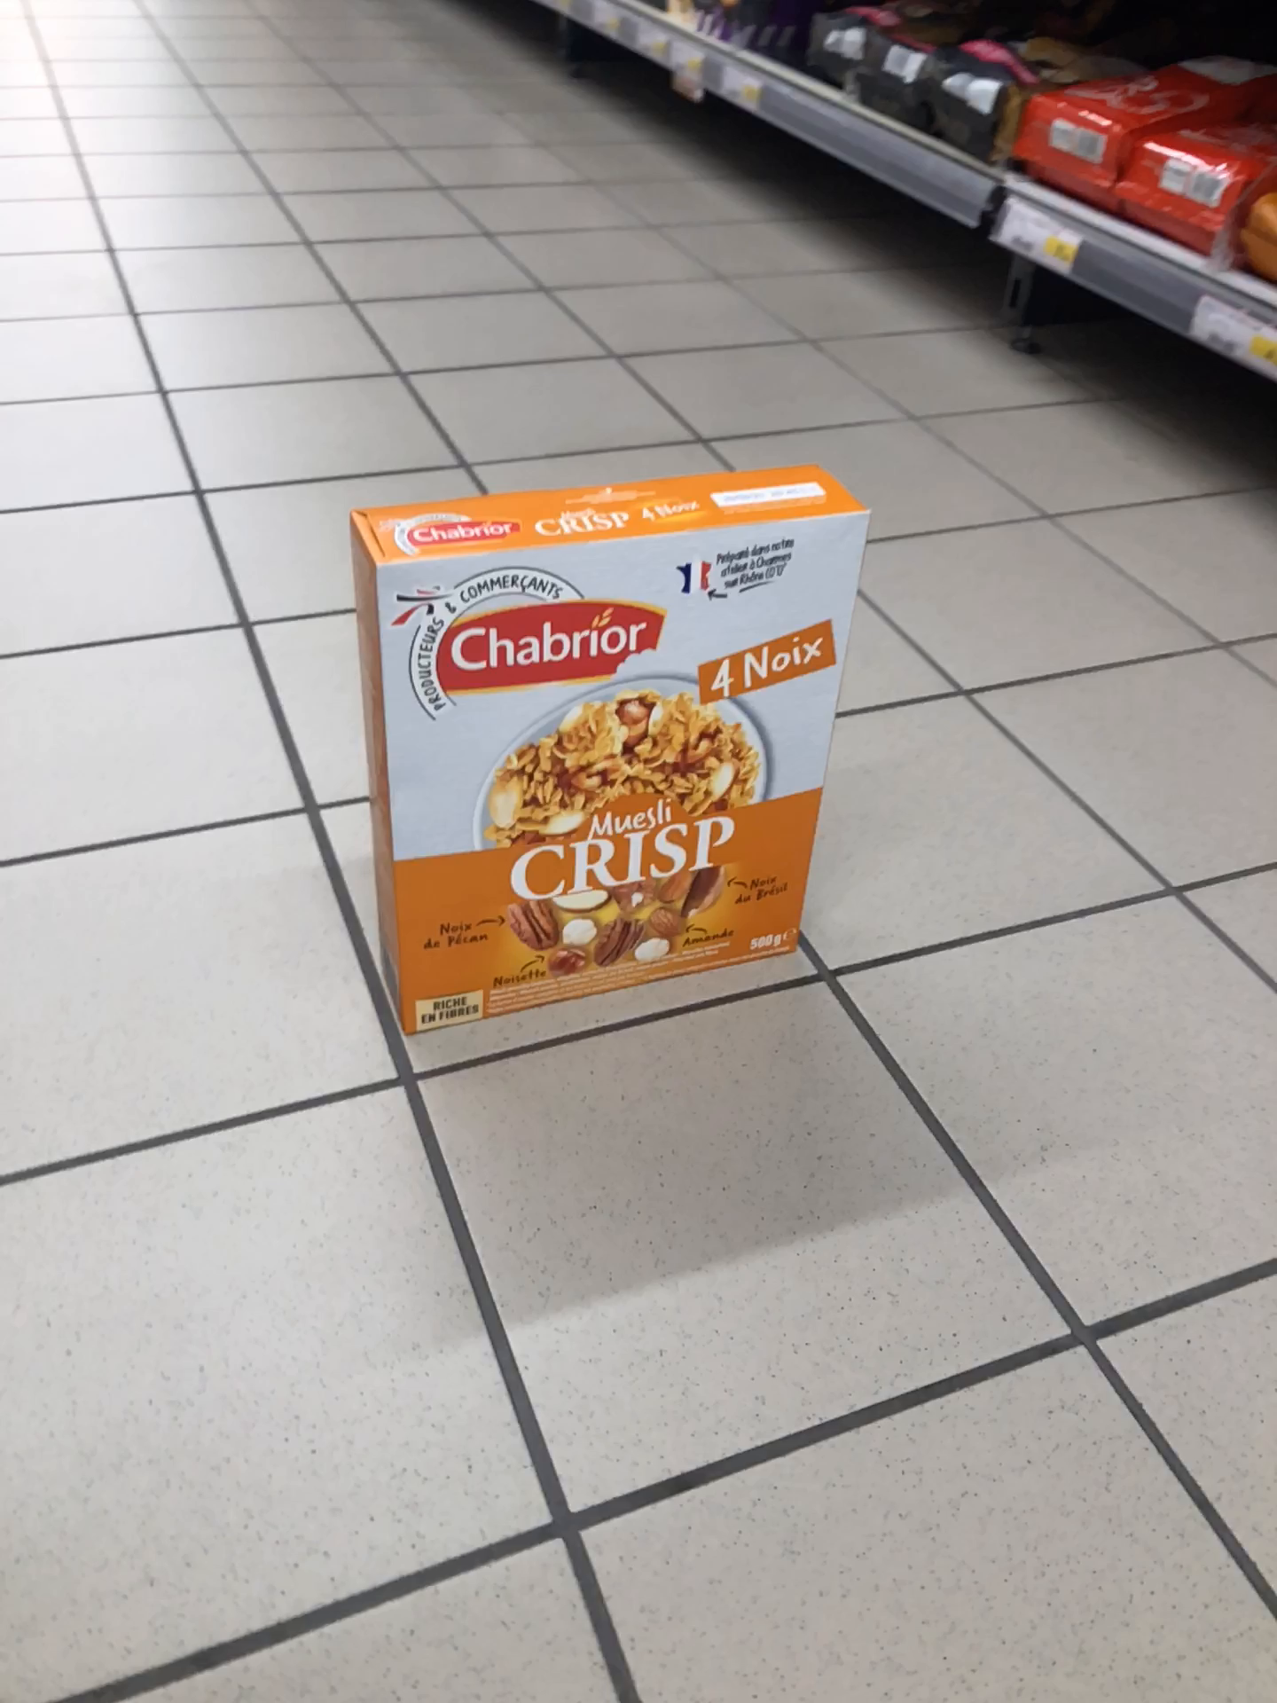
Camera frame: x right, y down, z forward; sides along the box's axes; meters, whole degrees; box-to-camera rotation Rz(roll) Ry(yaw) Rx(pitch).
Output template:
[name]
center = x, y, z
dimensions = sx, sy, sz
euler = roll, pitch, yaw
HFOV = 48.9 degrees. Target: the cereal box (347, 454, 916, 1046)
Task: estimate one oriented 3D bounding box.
[cereal box]
center = -0.007, -0.039, 0.580
dimensions = 0.200, 0.219, 0.060
euler = -10, 40, -18
